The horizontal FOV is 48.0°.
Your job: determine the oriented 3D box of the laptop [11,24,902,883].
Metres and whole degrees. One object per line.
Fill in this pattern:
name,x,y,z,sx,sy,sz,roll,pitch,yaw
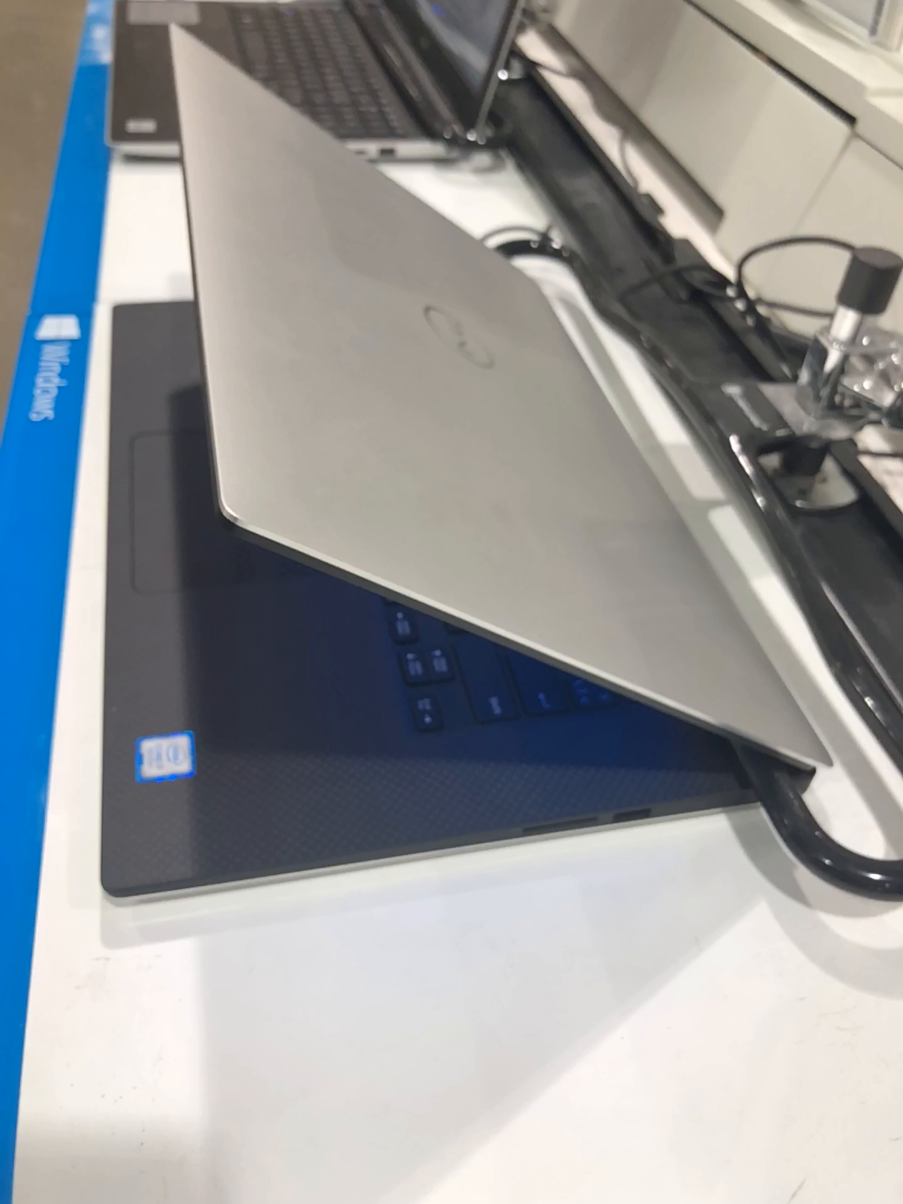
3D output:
laptop,-0.027,-0.098,0.388,0.216,0.133,0.347,-7,45,-12
